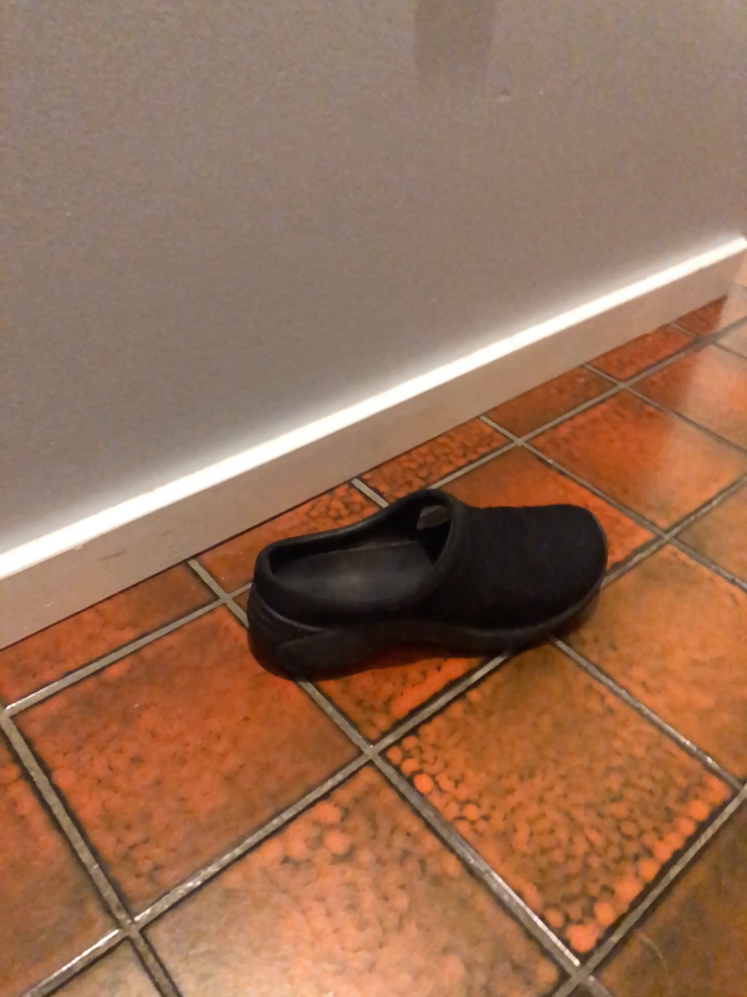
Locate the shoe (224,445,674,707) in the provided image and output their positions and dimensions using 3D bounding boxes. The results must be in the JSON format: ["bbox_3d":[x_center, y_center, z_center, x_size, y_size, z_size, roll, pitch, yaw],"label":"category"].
[{"bbox_3d":[0.041,0.042,0.514,0.250,0.080,0.100,-7,42,-15],"label":"shoe"}]
